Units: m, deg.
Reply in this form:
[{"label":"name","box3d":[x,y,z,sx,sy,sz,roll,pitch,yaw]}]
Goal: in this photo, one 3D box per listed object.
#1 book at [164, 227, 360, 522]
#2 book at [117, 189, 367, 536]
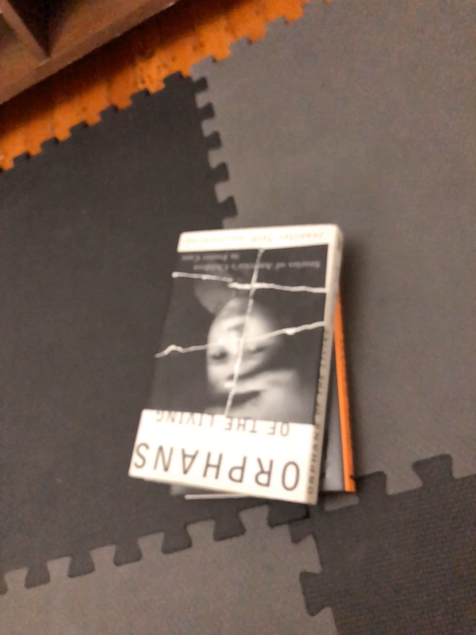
[{"label":"book","box3d":[0.015,0.049,0.488,0.160,0.030,0.251,-11,64,21]},{"label":"book","box3d":[0.008,0.025,0.467,0.180,0.030,0.281,0,68,26]}]
